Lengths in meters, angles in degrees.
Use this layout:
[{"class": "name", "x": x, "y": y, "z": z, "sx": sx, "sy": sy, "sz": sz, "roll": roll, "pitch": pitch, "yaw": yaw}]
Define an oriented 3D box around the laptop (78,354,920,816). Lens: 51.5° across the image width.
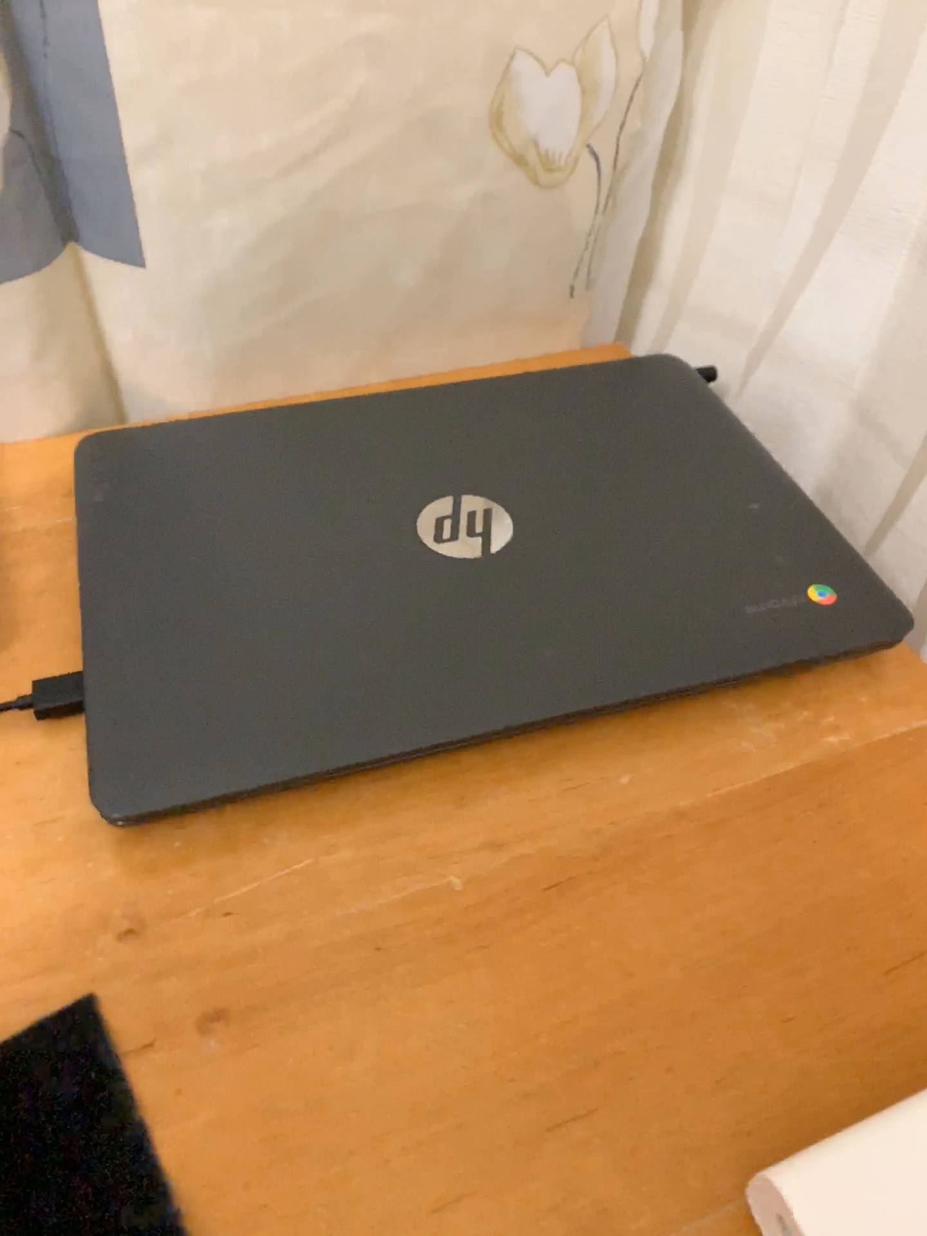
[{"class": "laptop", "x": -0.002, "y": -0.036, "z": 0.376, "sx": 0.281, "sy": 0.002, "sz": 0.195, "roll": -11, "pitch": 46, "yaw": -13}]
